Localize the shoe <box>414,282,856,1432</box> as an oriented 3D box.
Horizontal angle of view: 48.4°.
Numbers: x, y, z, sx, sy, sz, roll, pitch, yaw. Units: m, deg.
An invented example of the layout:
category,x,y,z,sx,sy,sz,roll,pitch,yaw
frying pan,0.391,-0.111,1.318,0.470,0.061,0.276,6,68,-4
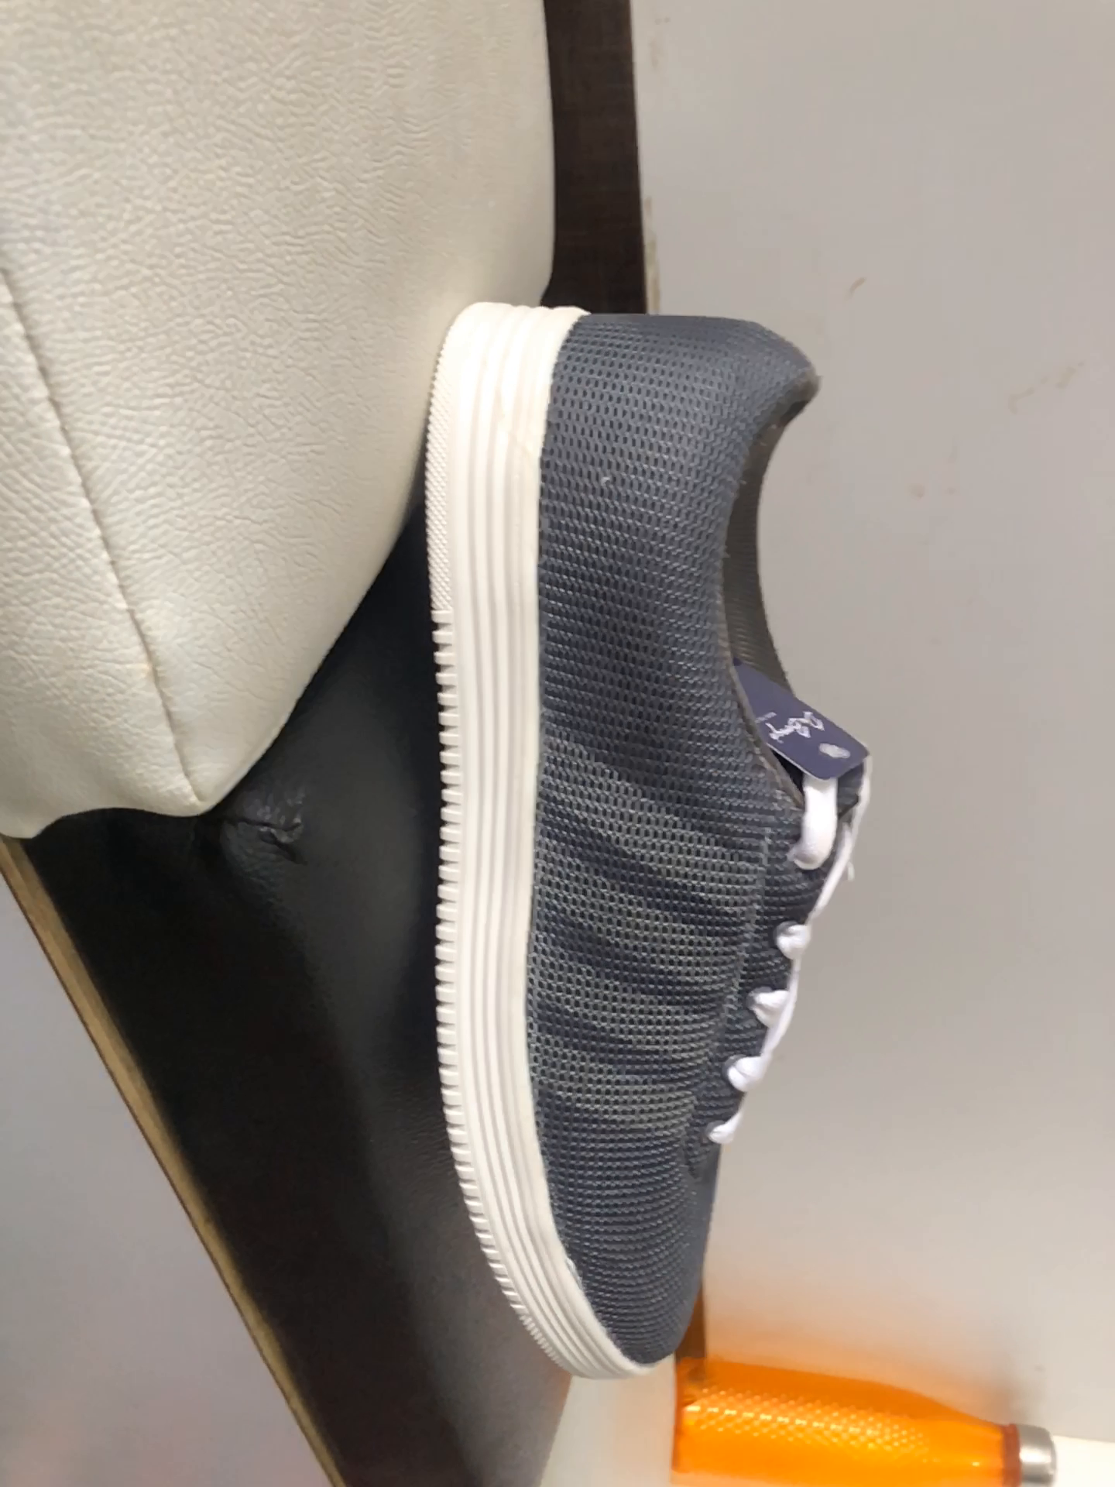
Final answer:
category,x,y,z,sx,sy,sz,roll,pitch,yaw
shoe,0.028,0.031,0.363,0.100,0.100,0.300,-50,141,-71
